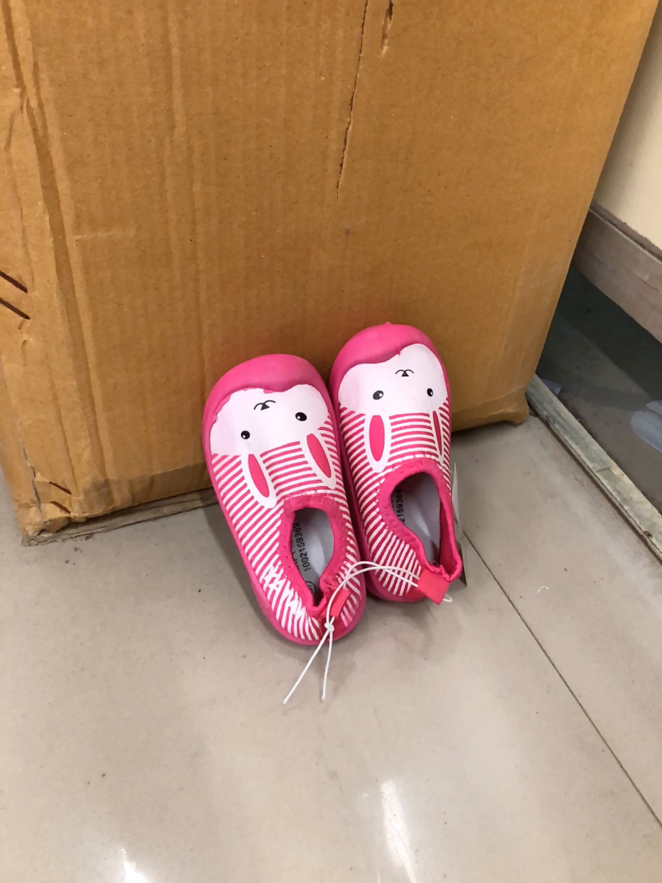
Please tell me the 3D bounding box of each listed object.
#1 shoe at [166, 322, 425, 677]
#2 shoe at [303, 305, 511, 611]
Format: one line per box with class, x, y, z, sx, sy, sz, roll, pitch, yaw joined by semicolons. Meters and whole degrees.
shoe;-0.024;0.030;0.390;0.070;0.082;0.156;-18;88;-22
shoe;0.038;0.010;0.418;0.069;0.082;0.148;-10;86;-12
